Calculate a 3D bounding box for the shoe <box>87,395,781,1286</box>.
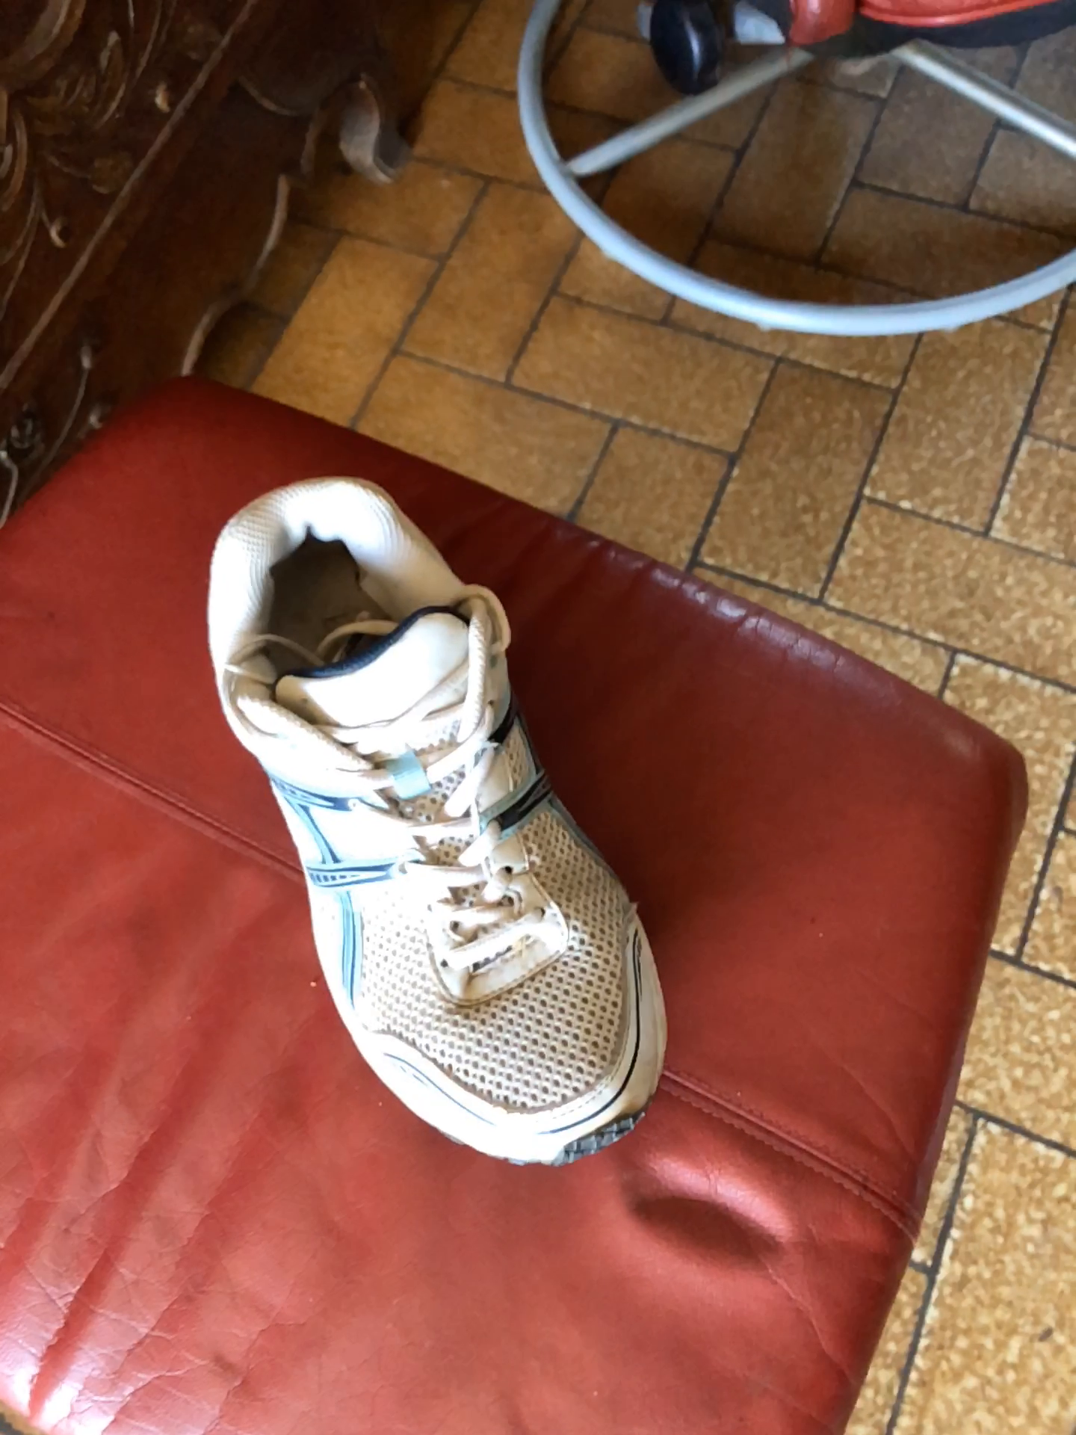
[{"bbox_3d":[-0.043,0.033,0.418,0.120,0.080,0.270,-26,69,-7],"label":"shoe"}]
